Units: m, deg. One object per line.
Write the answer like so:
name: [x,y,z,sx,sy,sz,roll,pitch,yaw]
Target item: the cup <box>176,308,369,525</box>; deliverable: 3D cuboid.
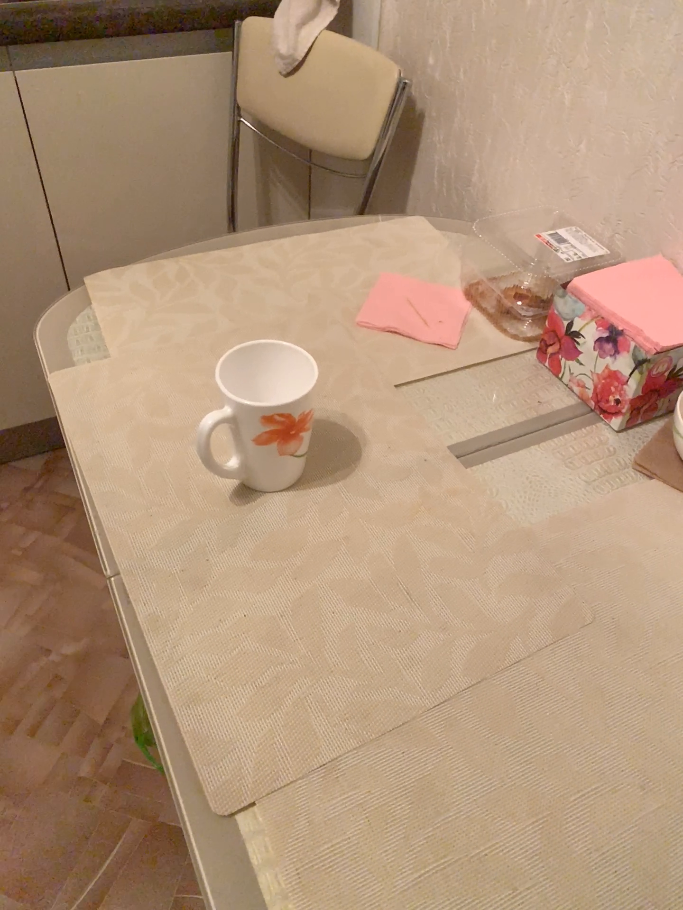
cup: [-0.051,-0.033,0.550,0.084,0.099,0.119,31,51,24]
